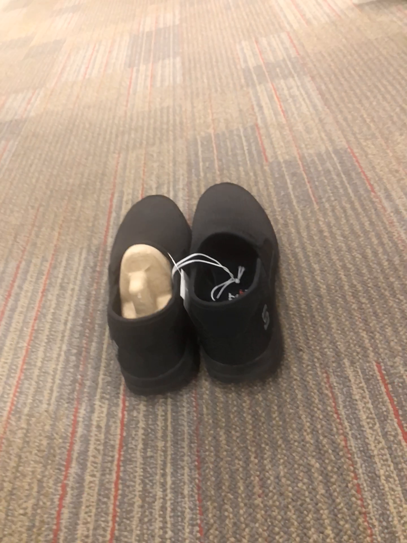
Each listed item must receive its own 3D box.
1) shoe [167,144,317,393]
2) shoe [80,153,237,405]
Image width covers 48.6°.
[{"bbox_3d":[0.035,-0.015,0.488,0.120,0.109,0.248,-9,45,6],"label":"shoe"},{"bbox_3d":[-0.043,-0.006,0.494,0.116,0.105,0.258,-10,45,5],"label":"shoe"}]
